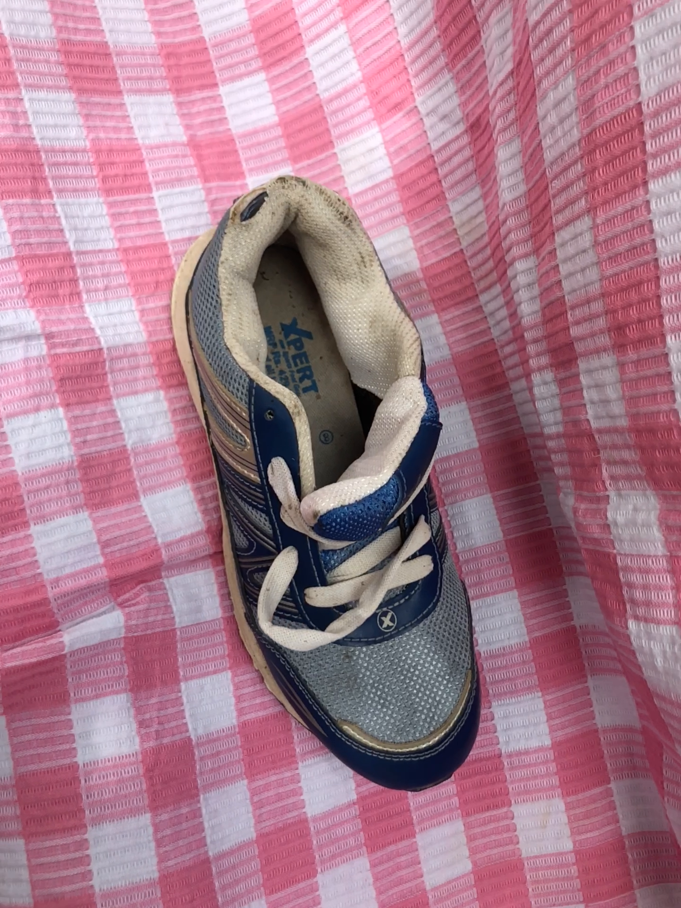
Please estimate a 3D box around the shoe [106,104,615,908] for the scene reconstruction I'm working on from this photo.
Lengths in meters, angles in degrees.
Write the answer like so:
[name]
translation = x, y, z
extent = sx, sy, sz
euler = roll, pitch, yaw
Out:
[shoe]
translation = -0.004, 0.014, 0.319
extent = 0.110, 0.100, 0.280
euler = -15, 85, -22
